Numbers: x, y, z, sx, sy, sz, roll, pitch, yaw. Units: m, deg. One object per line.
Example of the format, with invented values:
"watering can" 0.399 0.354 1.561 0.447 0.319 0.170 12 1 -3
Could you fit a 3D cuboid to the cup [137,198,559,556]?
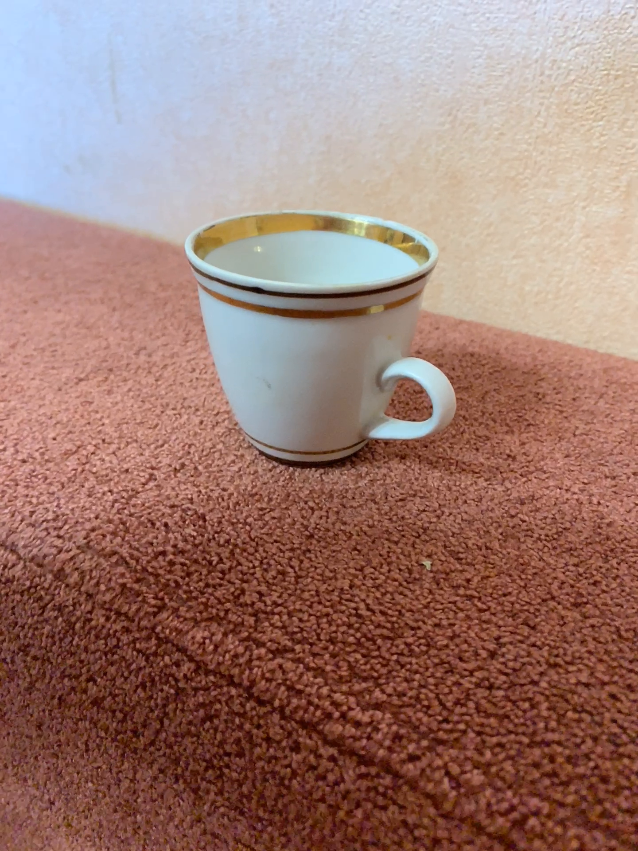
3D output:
"cup" 0.005 -0.019 0.163 0.078 0.048 0.055 27 41 35
